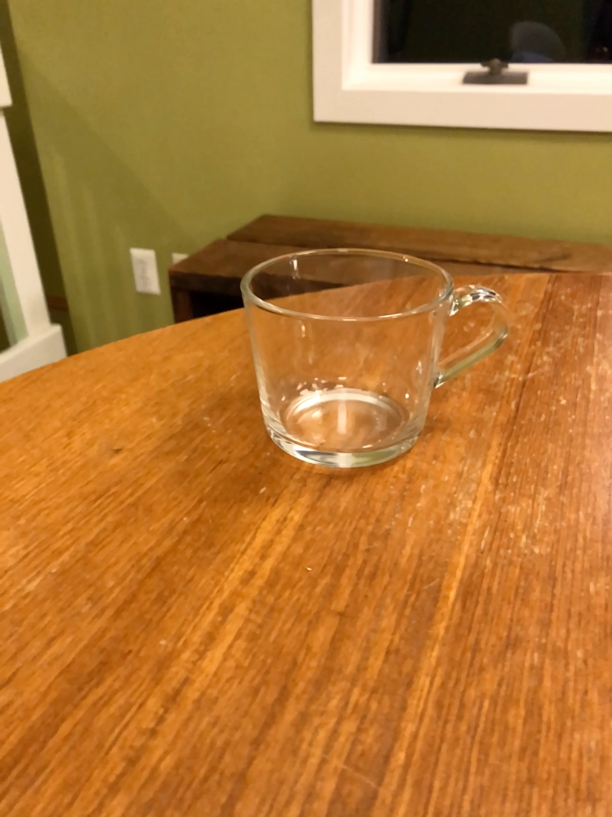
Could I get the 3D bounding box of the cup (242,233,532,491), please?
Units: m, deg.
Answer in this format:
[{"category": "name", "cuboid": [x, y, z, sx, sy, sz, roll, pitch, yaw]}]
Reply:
[{"category": "cup", "cuboid": [0.031, -0.028, 0.345, 0.120, 0.089, 0.101, -3, 29, -3]}]
